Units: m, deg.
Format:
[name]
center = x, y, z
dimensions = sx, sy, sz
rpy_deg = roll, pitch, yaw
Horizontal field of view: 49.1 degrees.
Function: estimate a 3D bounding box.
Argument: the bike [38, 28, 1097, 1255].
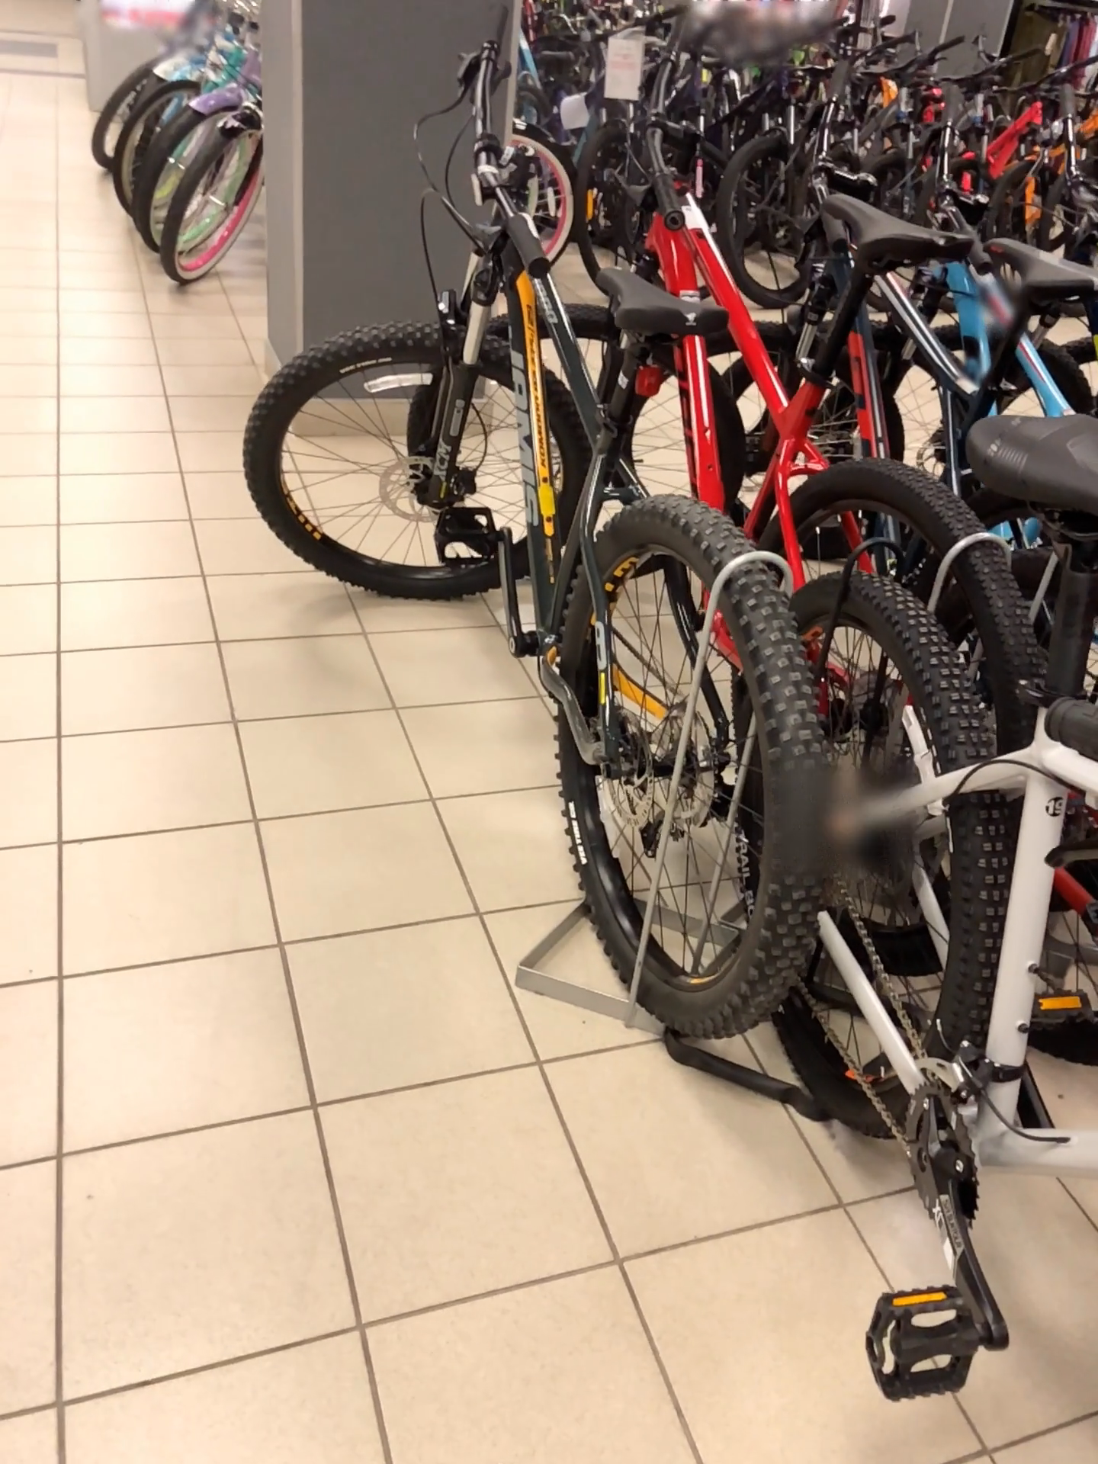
[bike]
center = -0.080, -0.293, 1.786
dimensions = 0.808, 1.166, 1.547
rpy_deg = -12, 35, -28
